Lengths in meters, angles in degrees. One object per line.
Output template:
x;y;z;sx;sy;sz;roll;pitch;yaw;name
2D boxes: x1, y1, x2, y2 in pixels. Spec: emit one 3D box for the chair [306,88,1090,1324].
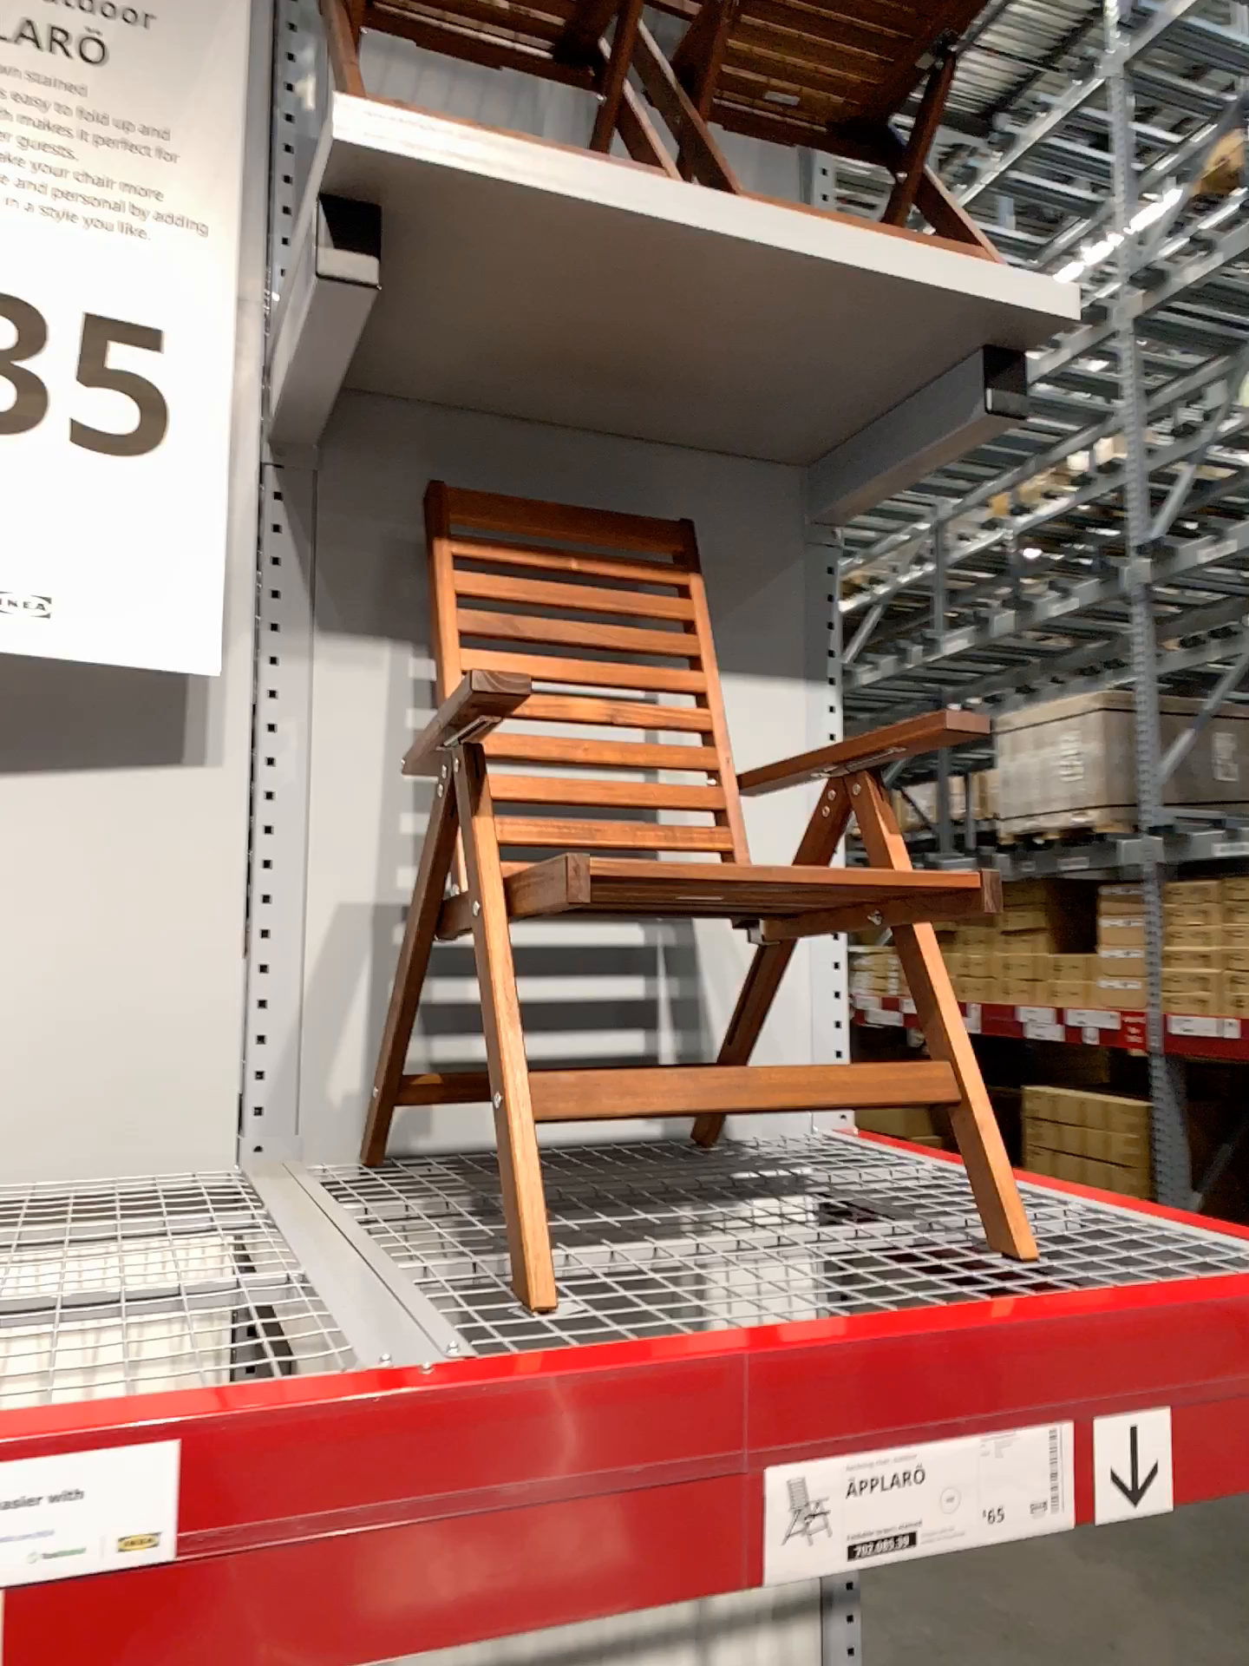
0.001;-0.084;1.597;0.615;1.055;0.890;3;-6;-23;chair
